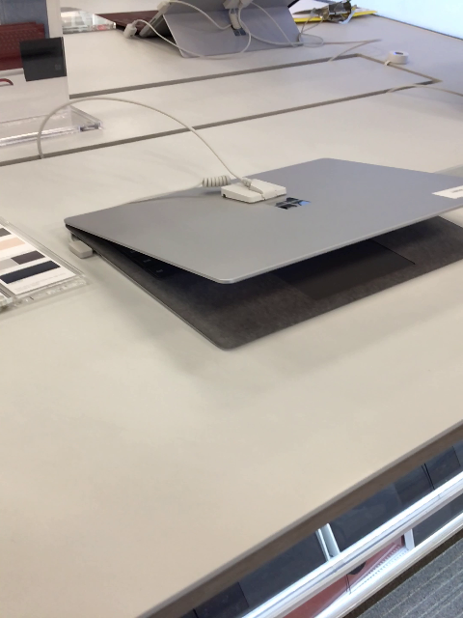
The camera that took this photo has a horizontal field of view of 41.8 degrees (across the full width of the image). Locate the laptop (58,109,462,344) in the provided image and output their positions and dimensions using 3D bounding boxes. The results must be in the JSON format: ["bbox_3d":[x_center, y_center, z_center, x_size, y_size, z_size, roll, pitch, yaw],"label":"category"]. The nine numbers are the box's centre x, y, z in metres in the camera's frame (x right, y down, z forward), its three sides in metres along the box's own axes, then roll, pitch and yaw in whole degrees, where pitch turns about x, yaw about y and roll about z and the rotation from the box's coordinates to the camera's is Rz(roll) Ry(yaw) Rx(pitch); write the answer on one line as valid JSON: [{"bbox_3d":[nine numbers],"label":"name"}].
[{"bbox_3d":[0.063,-0.097,0.565,0.321,0.063,0.226,-24,47,-29],"label":"laptop"}]
